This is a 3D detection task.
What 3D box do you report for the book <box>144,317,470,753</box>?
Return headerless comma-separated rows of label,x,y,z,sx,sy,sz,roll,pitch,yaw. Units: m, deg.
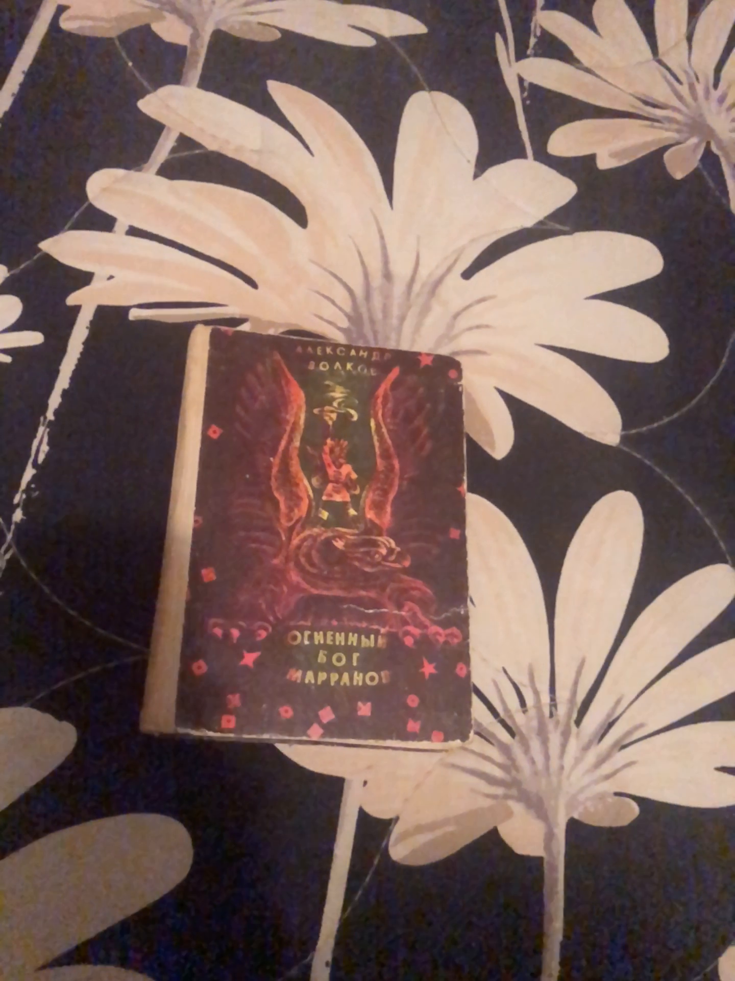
book,-0.023,0.020,0.419,0.152,0.020,0.212,6,72,-11
